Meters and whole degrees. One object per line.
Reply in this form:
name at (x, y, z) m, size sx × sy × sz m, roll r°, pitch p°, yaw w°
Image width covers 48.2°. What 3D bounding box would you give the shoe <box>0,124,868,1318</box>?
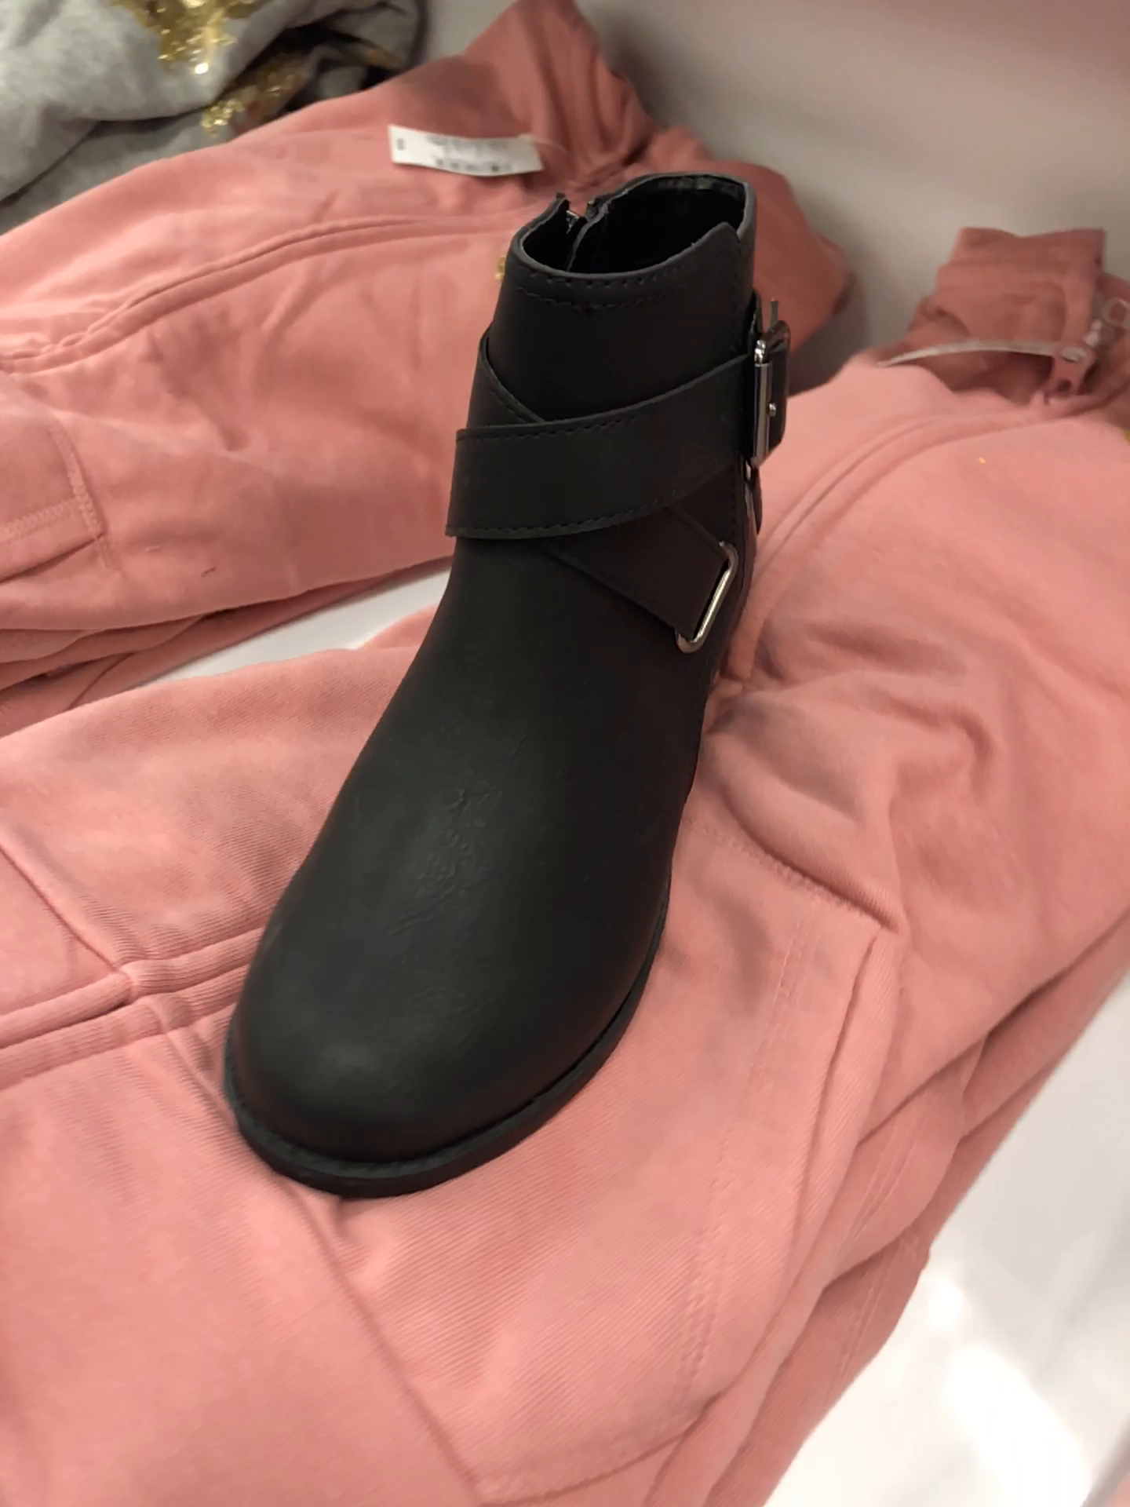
shoe at (-0.011, -0.023, 0.254) m, size 0.080 × 0.129 × 0.201 m, roll 16°, pitch 44°, yaw 14°
